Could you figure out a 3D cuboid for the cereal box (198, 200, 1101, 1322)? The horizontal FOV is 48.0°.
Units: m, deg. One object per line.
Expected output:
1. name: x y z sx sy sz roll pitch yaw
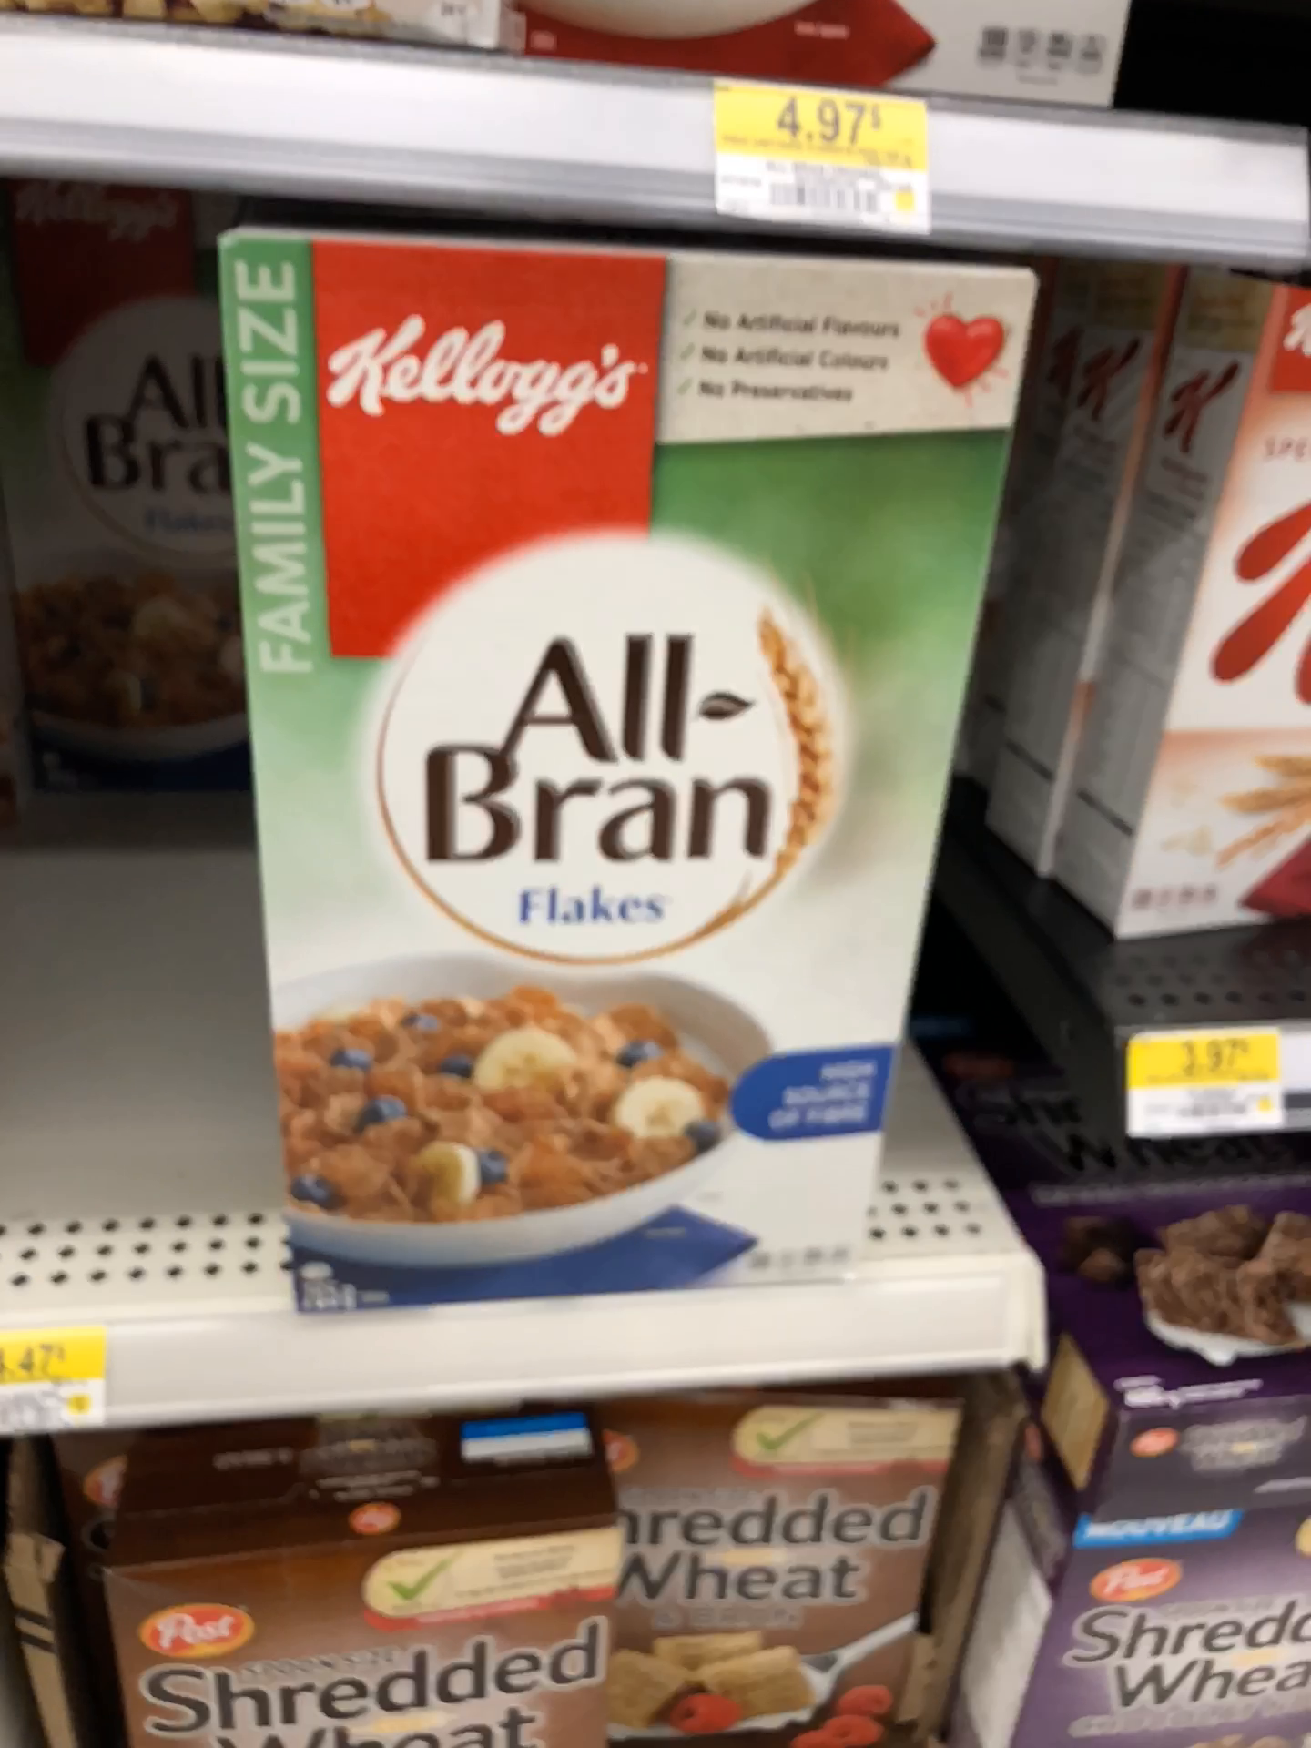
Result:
1. cereal box: -0.014 -0.020 0.446 0.210 0.318 0.081 -1 28 -11
